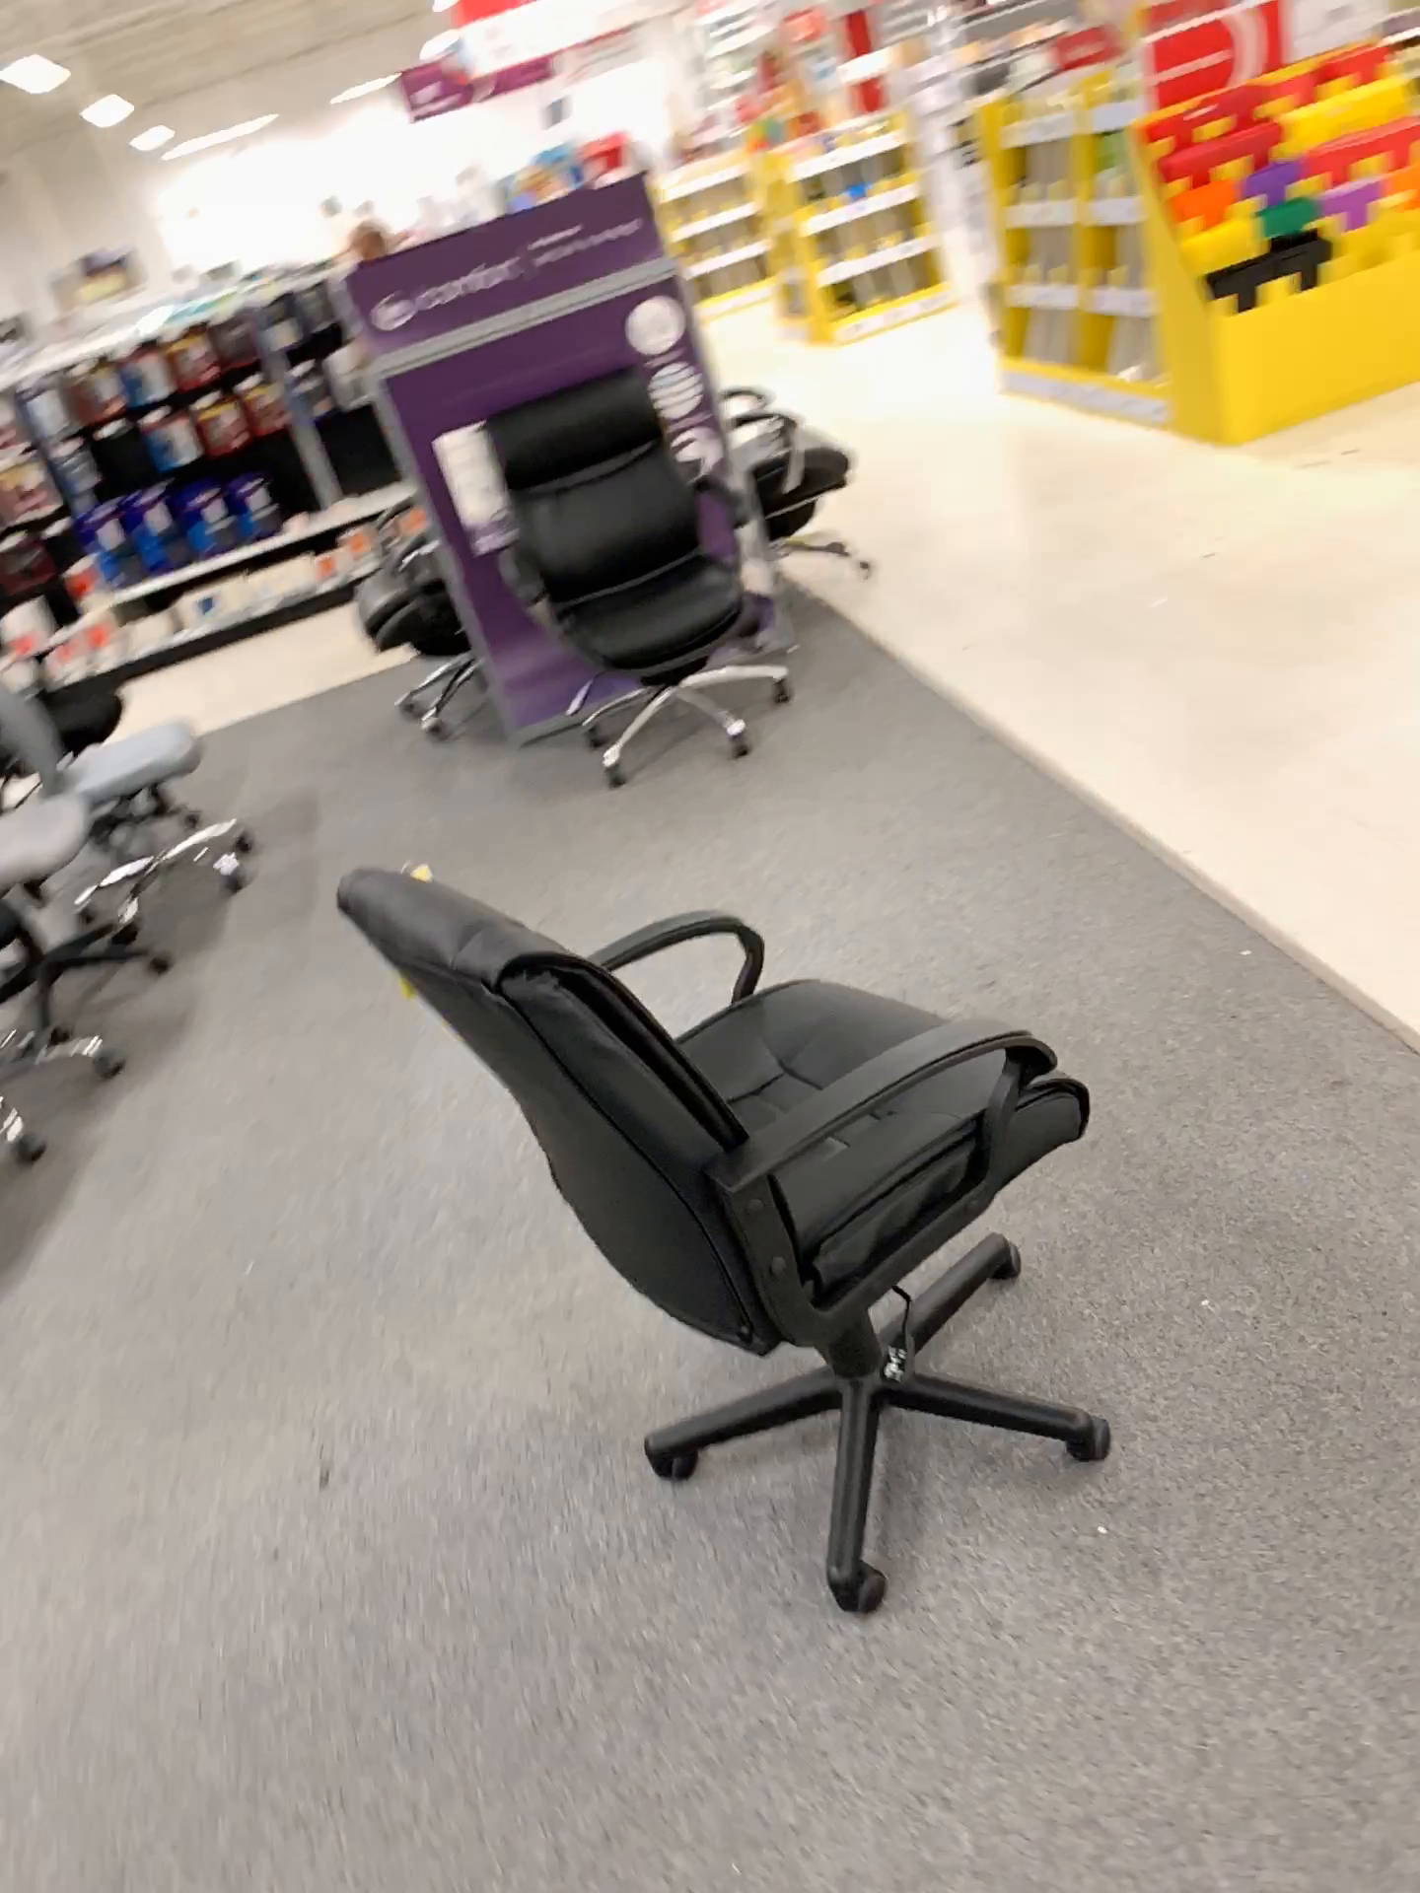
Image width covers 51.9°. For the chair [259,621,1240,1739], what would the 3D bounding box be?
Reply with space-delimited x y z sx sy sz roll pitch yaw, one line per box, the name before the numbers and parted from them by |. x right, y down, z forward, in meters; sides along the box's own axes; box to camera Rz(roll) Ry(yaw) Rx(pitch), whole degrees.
chair | 0.062 0.207 1.799 0.700 0.965 0.683 -31 27 -21
